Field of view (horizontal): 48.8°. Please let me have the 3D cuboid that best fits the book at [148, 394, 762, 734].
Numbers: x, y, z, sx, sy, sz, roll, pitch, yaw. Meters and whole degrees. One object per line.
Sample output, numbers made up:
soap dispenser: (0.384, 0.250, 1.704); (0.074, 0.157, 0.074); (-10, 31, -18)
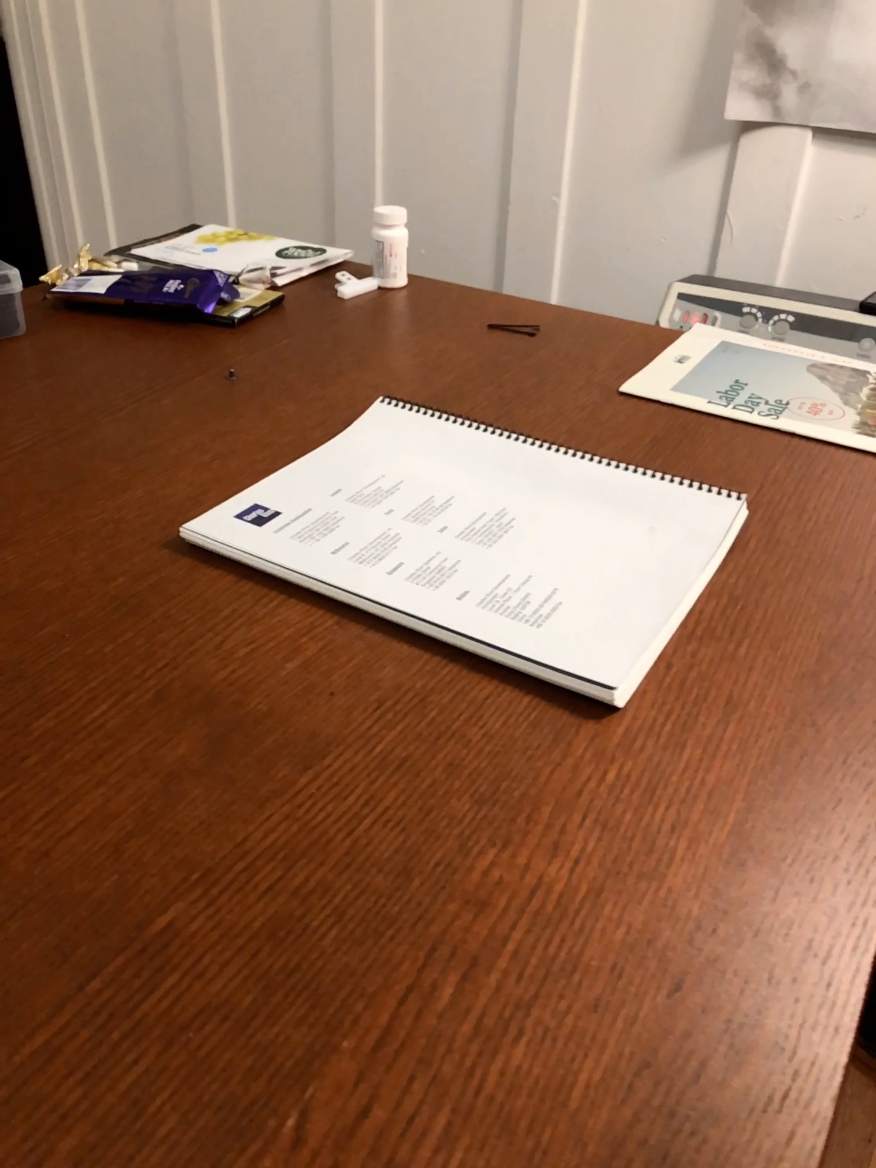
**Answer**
book: (0.018, -0.037, 0.593); (0.300, 0.020, 0.231); (19, 37, 24)
